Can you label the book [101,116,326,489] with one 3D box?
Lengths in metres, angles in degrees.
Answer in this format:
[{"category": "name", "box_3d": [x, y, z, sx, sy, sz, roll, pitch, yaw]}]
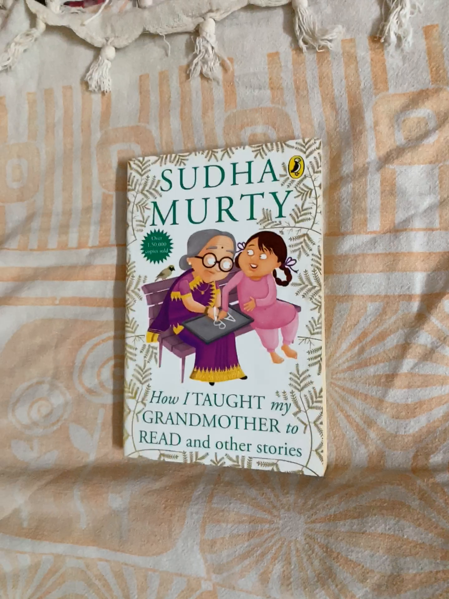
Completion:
[{"category": "book", "box_3d": [-0.008, 0.000, 0.278, 0.130, 0.020, 0.200, -2, 83, 18]}]
